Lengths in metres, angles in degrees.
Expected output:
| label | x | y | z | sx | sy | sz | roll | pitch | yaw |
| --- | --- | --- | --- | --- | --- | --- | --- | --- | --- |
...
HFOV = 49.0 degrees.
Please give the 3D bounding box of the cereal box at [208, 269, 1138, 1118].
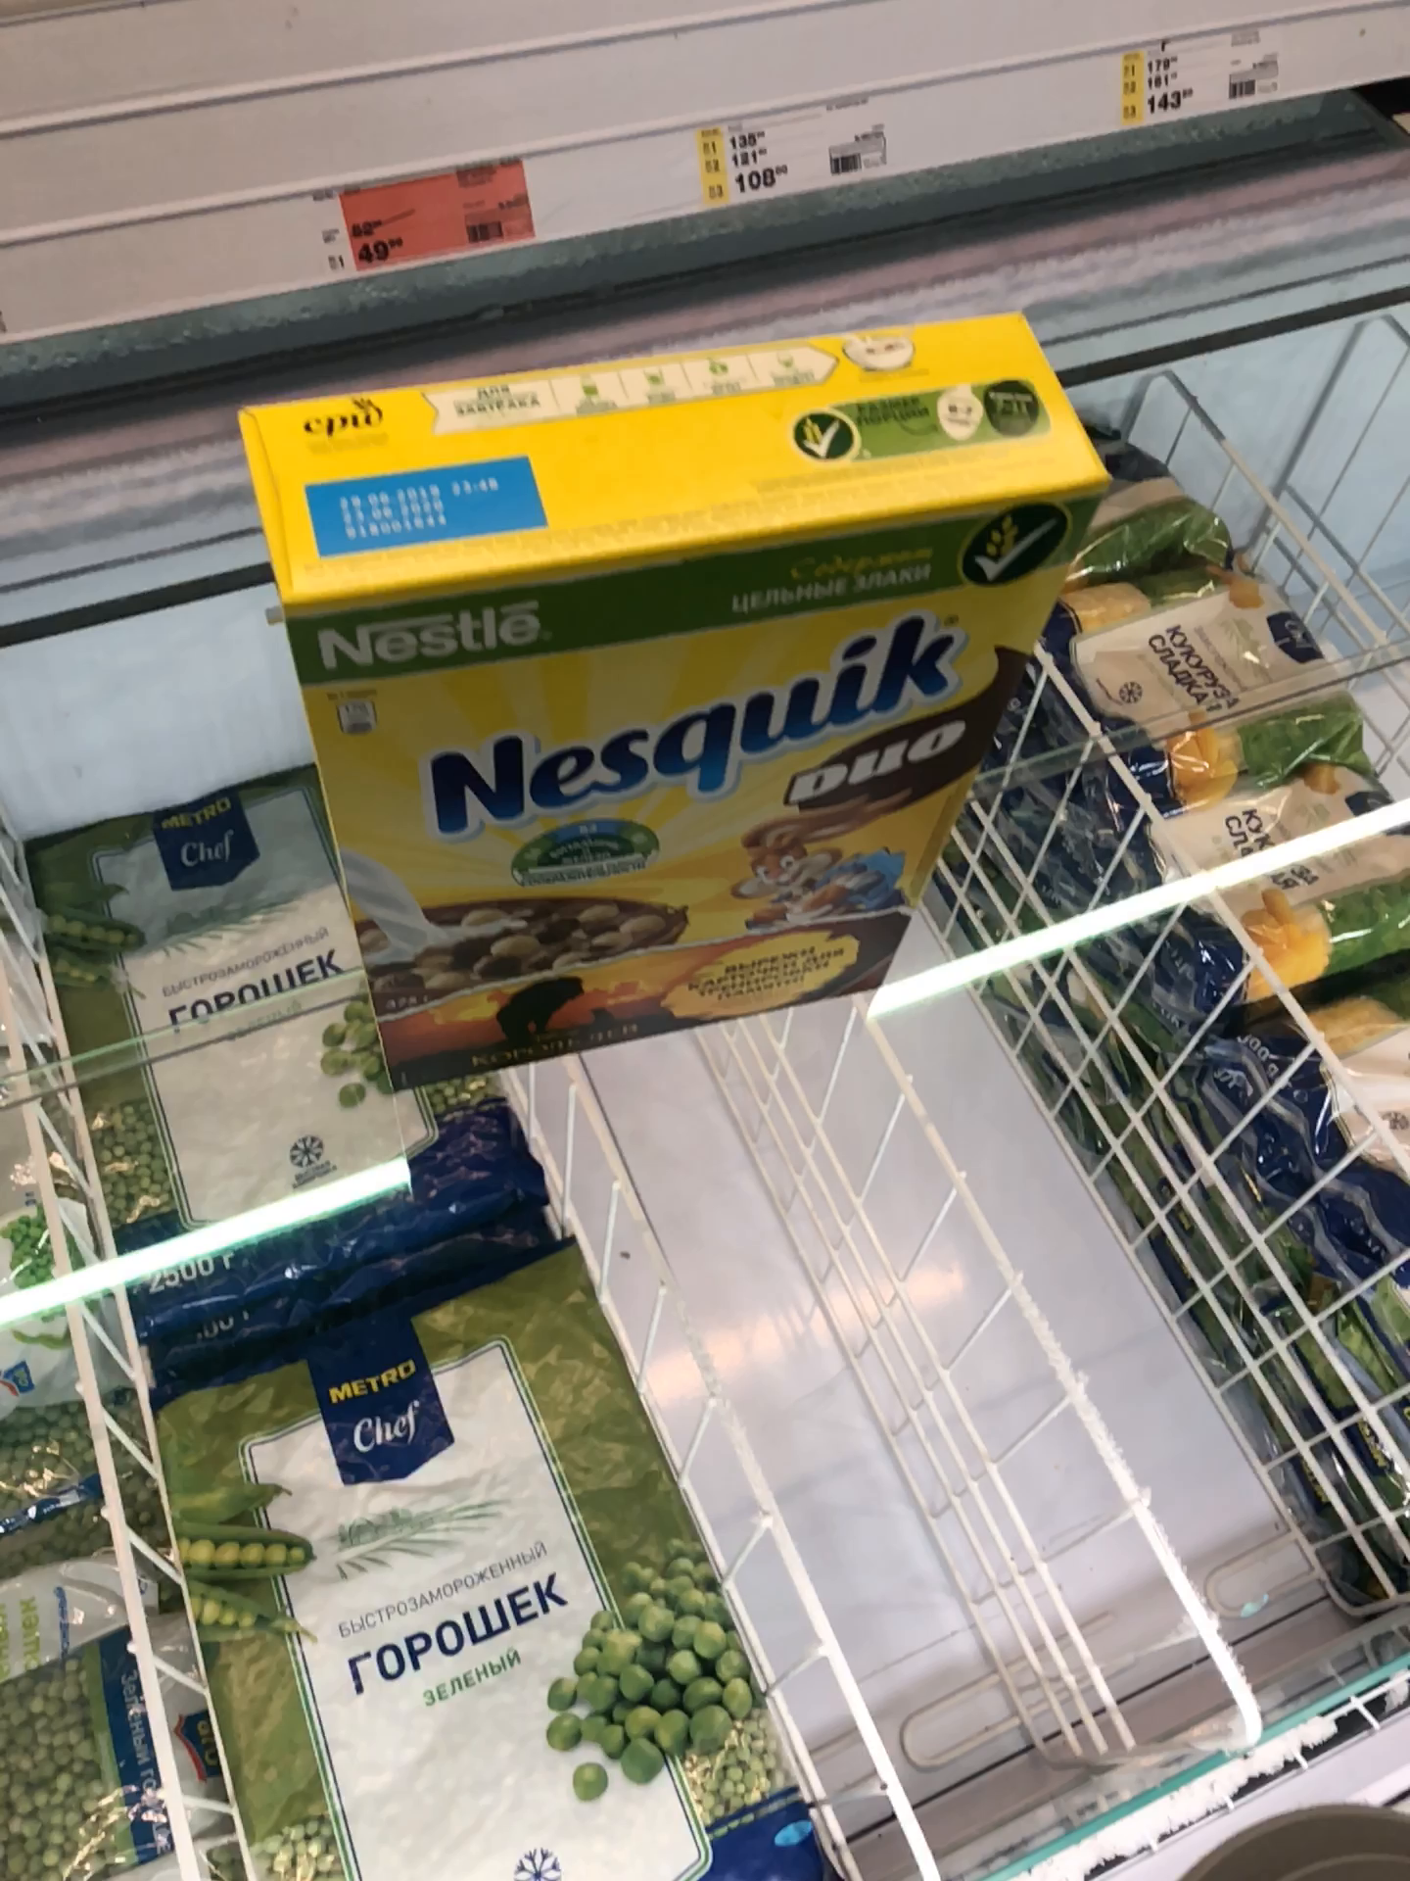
| label | x | y | z | sx | sy | sz | roll | pitch | yaw |
| --- | --- | --- | --- | --- | --- | --- | --- | --- | --- |
| cereal box | -0.017 | -0.052 | 0.473 | 0.200 | 0.279 | 0.070 | -12 | 63 | -11 |
